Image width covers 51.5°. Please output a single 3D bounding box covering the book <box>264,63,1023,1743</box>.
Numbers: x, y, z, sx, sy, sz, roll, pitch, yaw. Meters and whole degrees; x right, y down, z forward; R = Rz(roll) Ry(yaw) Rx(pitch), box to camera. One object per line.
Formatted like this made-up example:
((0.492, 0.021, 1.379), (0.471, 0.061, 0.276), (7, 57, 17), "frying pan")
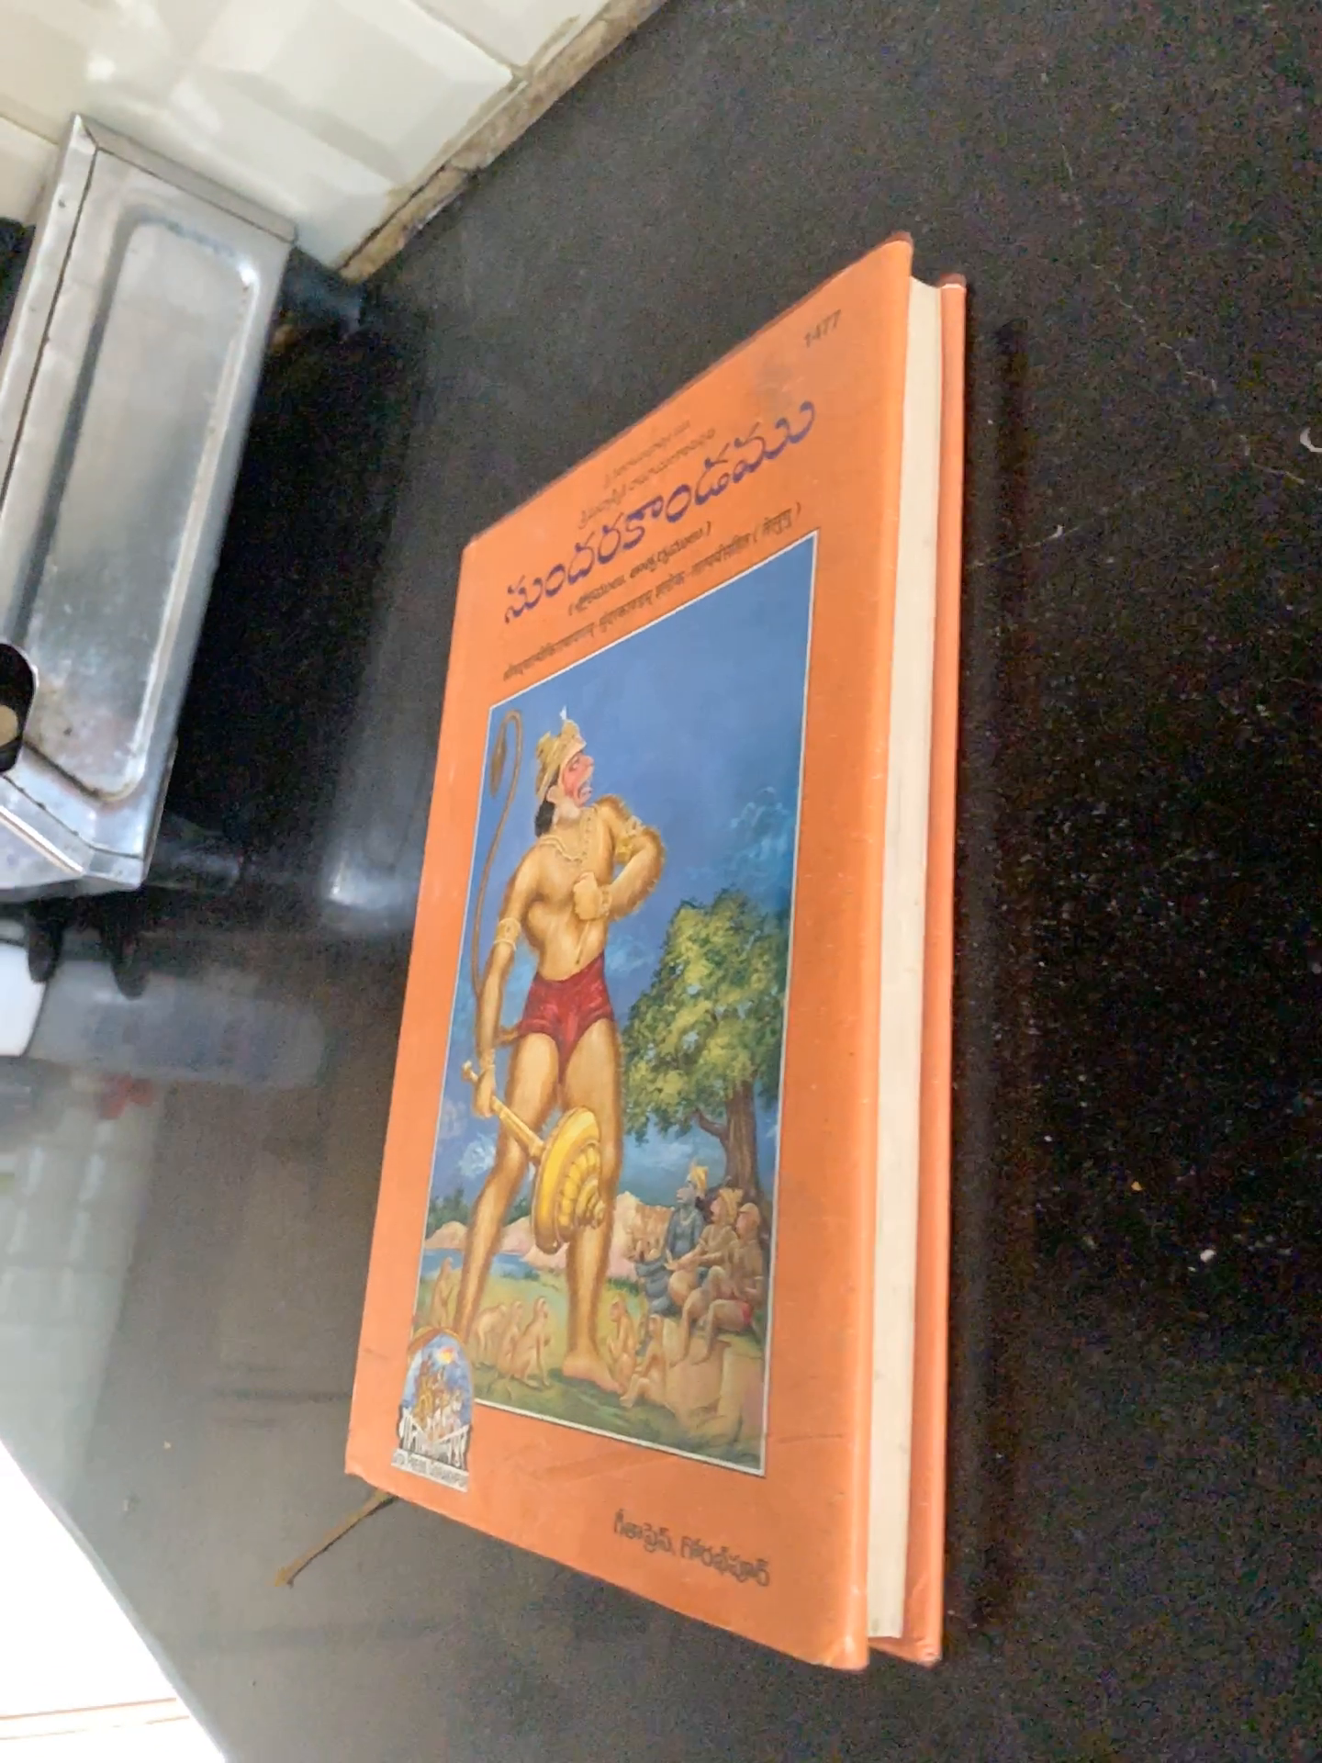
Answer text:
((-0.011, -0.001, 0.325), (0.201, 0.040, 0.301), (-15, 64, 51), "book")
